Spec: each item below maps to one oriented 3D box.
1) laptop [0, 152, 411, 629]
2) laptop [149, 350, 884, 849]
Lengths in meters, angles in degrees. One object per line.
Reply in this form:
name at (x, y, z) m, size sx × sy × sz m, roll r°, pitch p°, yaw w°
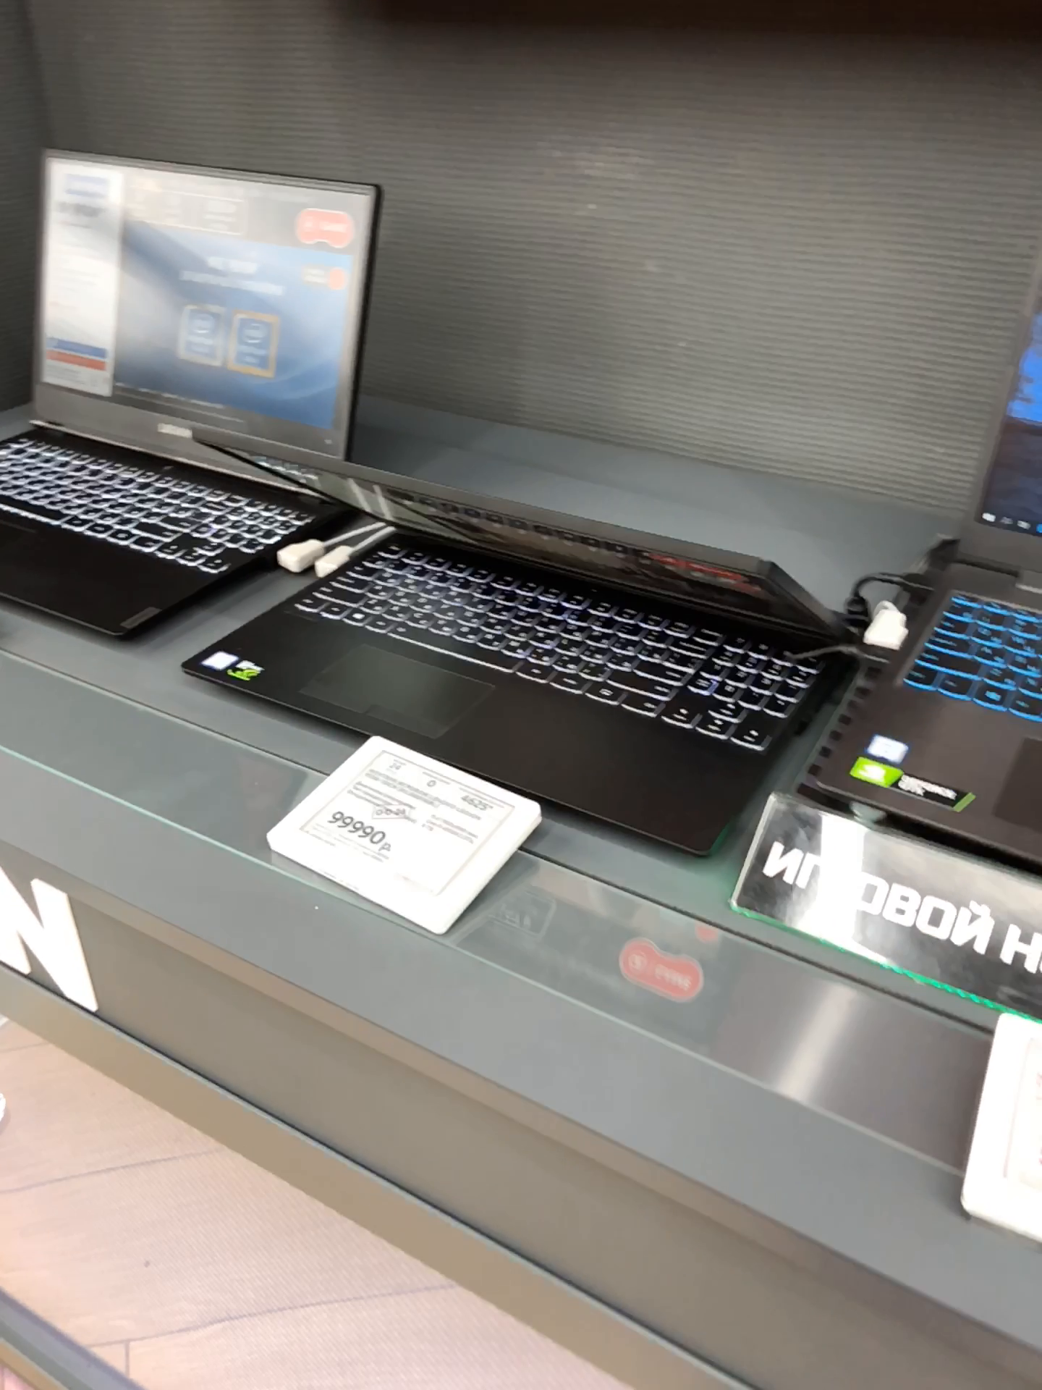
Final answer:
laptop at (-0.340, -0.261, 0.883) m, size 0.364 × 0.231 × 0.308 m, roll 18°, pitch 37°, yaw 27°
laptop at (-0.001, -0.084, 0.686) m, size 0.353 × 0.136 × 0.228 m, roll 18°, pitch 37°, yaw 26°
